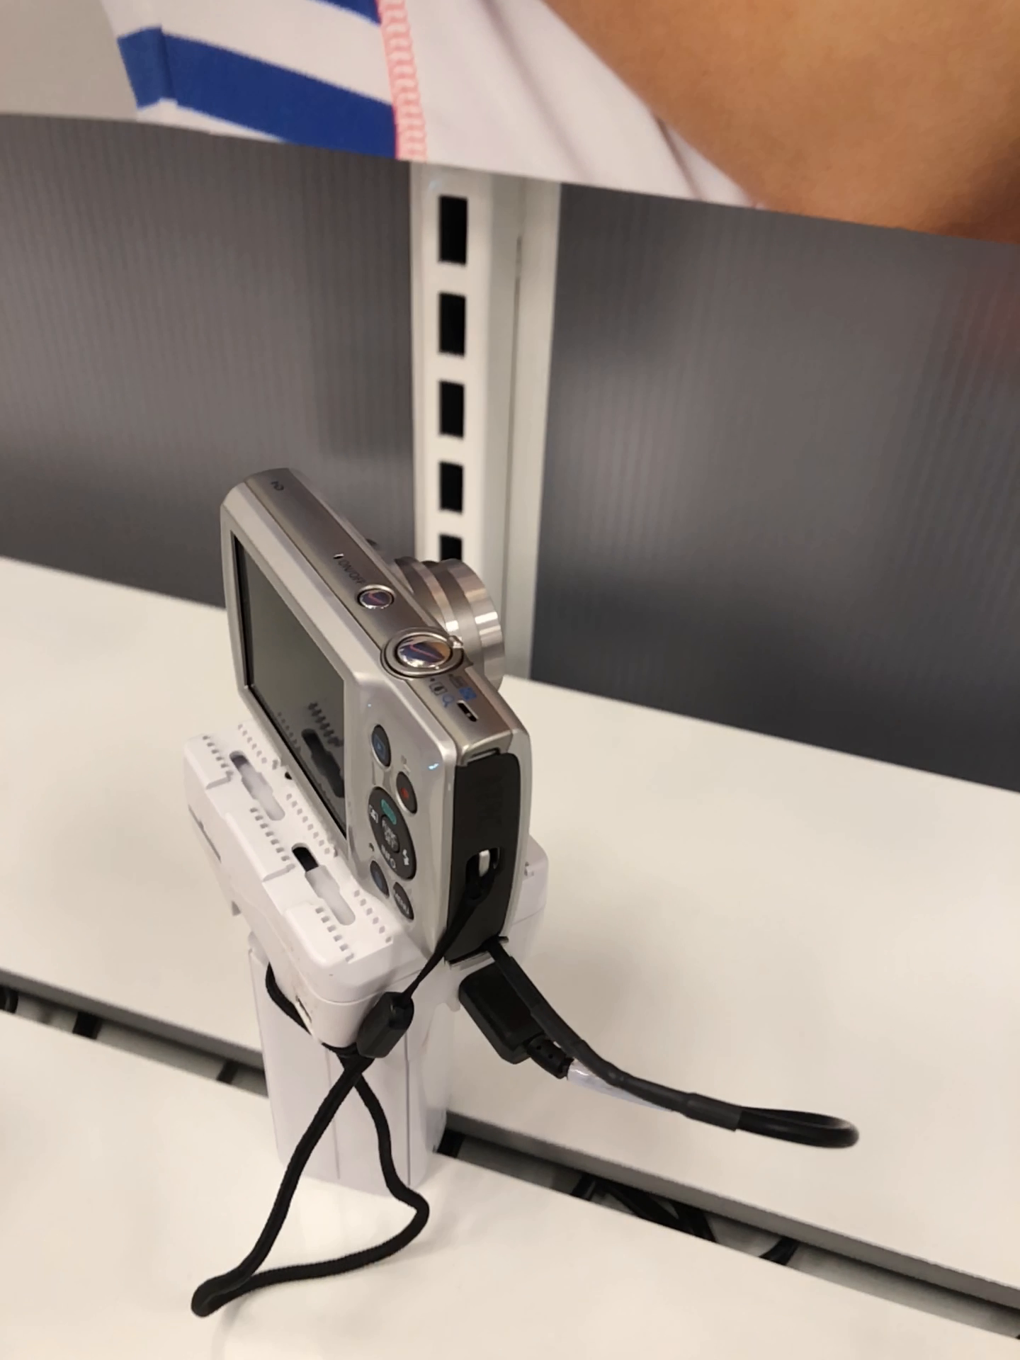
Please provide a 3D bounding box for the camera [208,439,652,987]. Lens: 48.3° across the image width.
[{"bbox_3d":[-0.019,0.001,0.220,0.042,0.055,0.090,-19,43,-25],"label":"camera"}]
